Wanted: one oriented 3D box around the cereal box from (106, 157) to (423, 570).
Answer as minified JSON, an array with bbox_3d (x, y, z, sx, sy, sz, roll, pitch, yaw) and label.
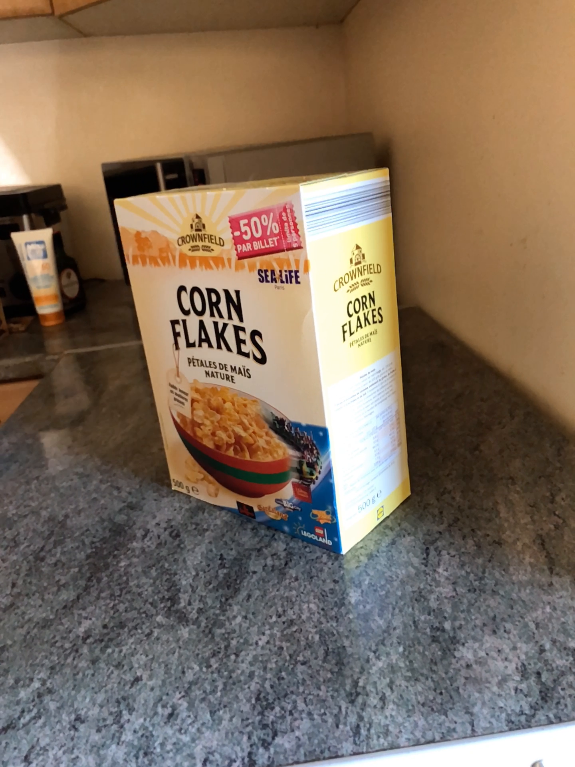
[{"bbox_3d":[-0.014,-0.026,0.488,0.200,0.259,0.100,12,27,40],"label":"cereal box"}]
